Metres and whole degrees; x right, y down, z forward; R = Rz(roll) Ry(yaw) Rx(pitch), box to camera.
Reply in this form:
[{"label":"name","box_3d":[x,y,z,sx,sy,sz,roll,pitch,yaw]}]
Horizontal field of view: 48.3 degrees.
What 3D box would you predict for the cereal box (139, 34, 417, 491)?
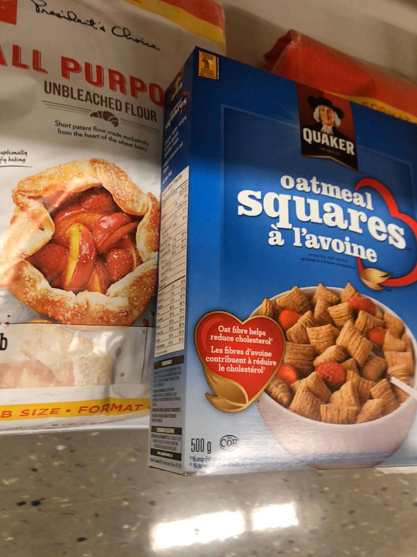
[{"label":"cereal box","box_3d":[0.069,-0.007,0.336,0.211,0.060,0.280,9,70,-23]}]
